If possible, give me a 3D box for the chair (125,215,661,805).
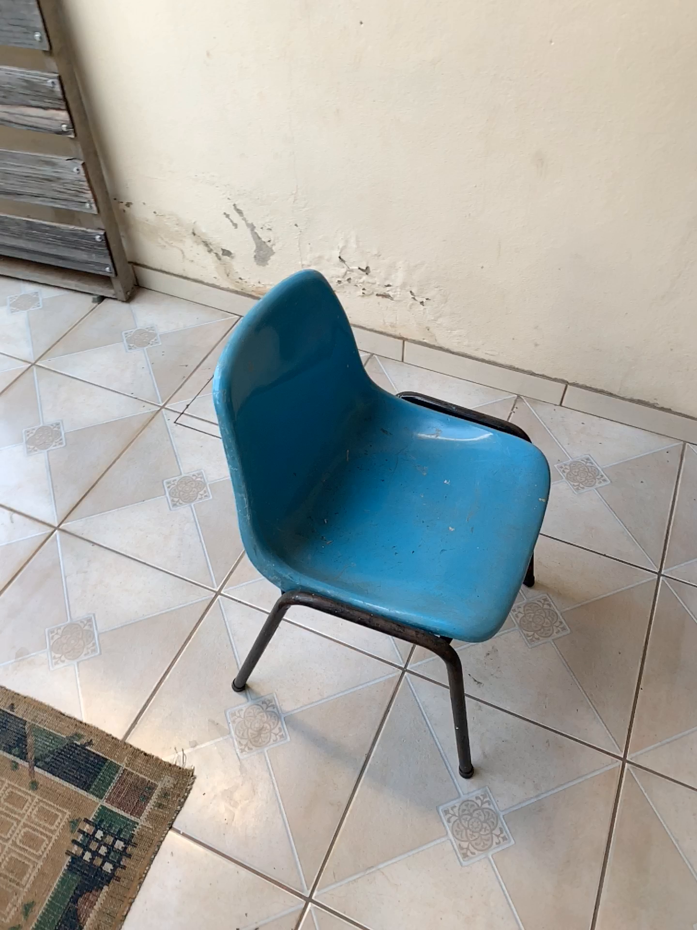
[{"bbox_3d":[0.094,0.091,1.188,0.530,0.687,0.552,19,54,15],"label":"chair"}]
